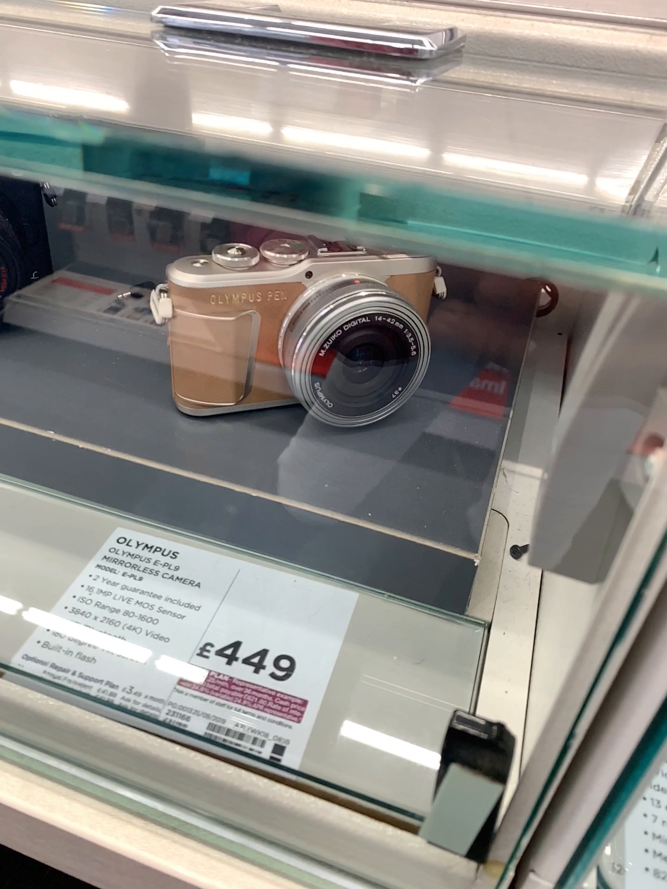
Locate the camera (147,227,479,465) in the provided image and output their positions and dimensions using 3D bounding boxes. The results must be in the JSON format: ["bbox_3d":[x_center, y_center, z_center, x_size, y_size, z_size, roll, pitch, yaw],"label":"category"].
[{"bbox_3d":[-0.011,-0.046,0.295,0.120,0.069,0.061,-9,38,-19],"label":"camera"}]
